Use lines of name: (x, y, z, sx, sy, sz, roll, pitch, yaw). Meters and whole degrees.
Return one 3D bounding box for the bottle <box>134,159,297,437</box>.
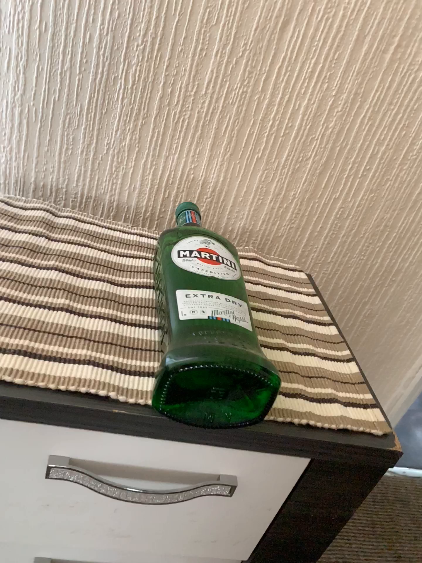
bottle: (-0.013, -0.017, 0.416, 0.090, 0.069, 0.323, 12, 33, -14)
